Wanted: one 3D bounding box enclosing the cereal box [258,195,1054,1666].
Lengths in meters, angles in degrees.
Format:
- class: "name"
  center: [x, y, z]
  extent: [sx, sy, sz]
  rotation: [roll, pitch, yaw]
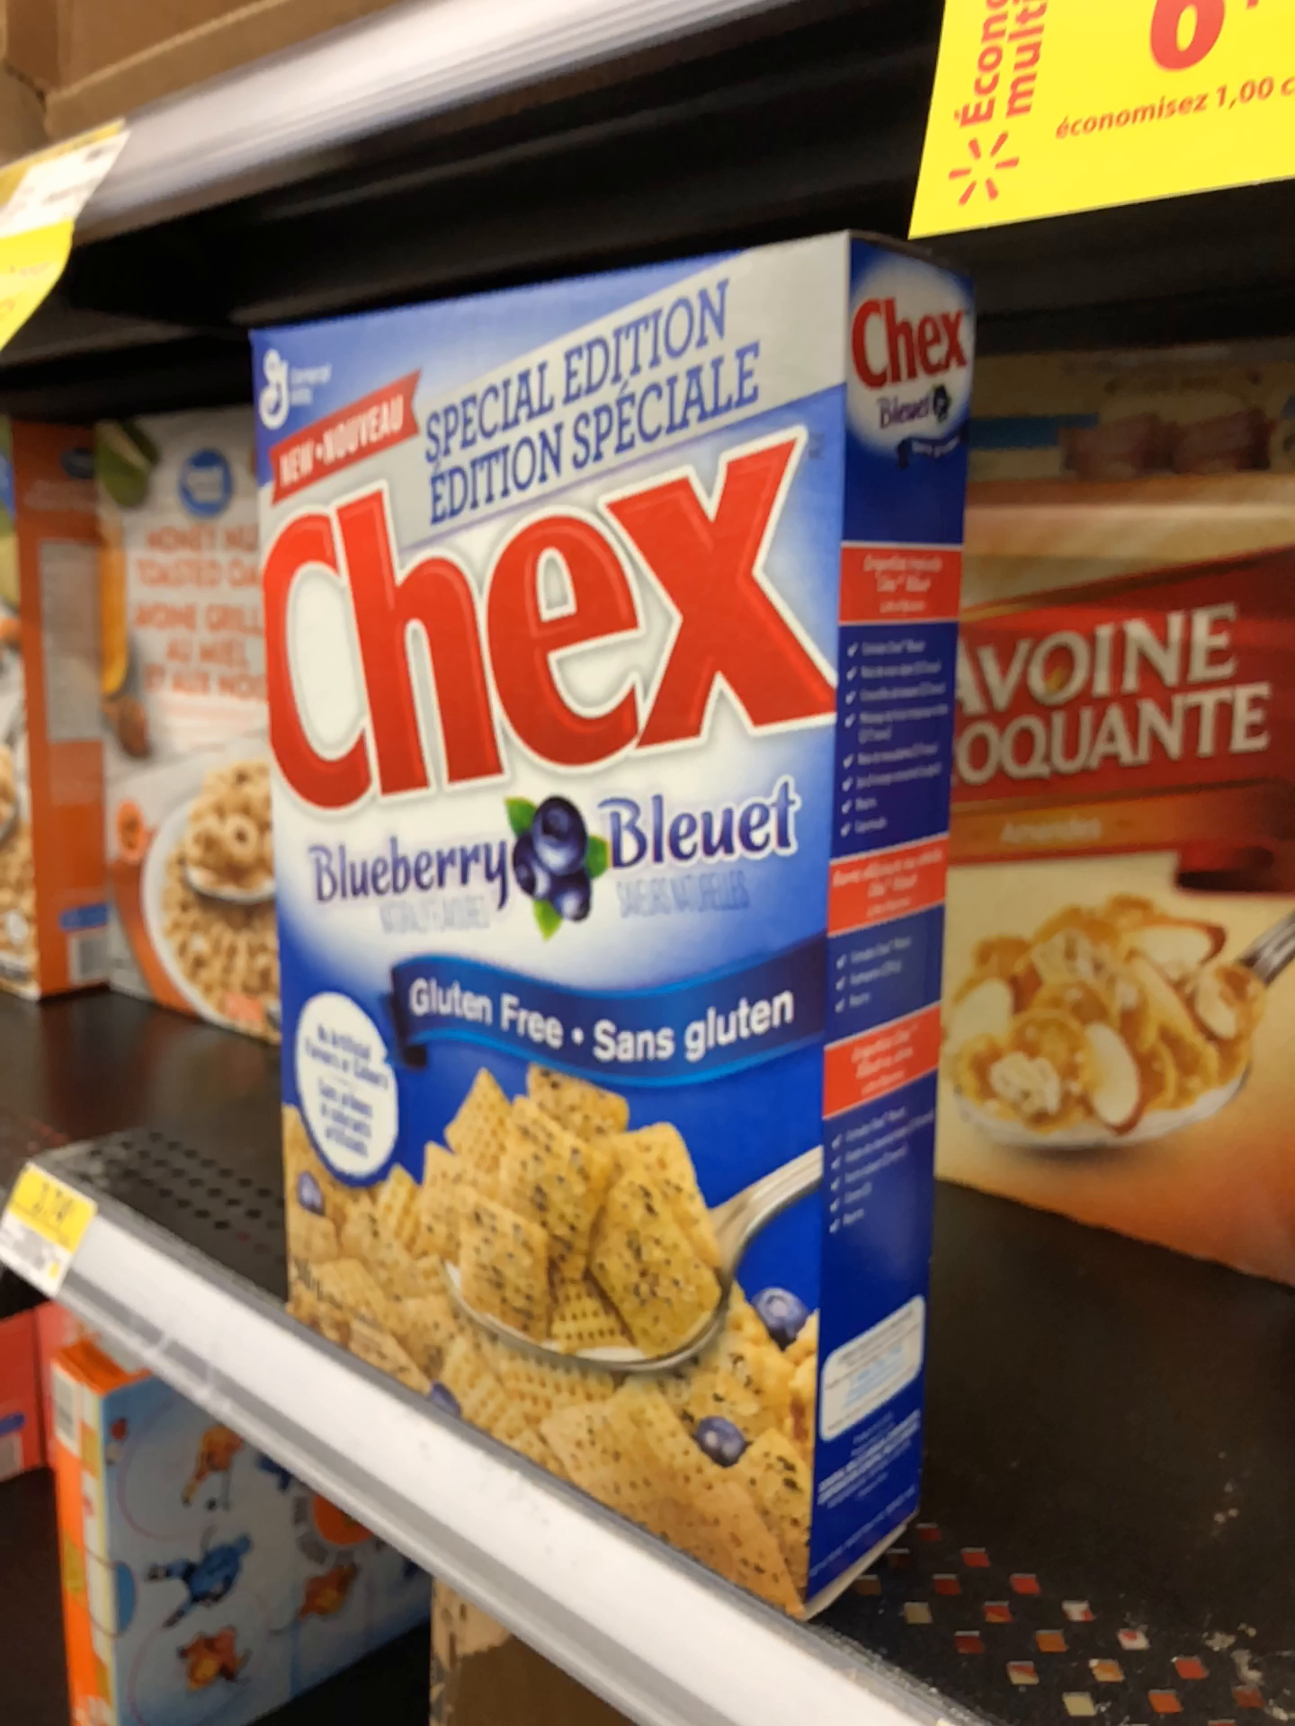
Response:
- class: "cereal box"
  center: [-0.012, 0.007, 0.367]
  extent: [0.200, 0.289, 0.060]
  rotation: [10, 14, 42]
